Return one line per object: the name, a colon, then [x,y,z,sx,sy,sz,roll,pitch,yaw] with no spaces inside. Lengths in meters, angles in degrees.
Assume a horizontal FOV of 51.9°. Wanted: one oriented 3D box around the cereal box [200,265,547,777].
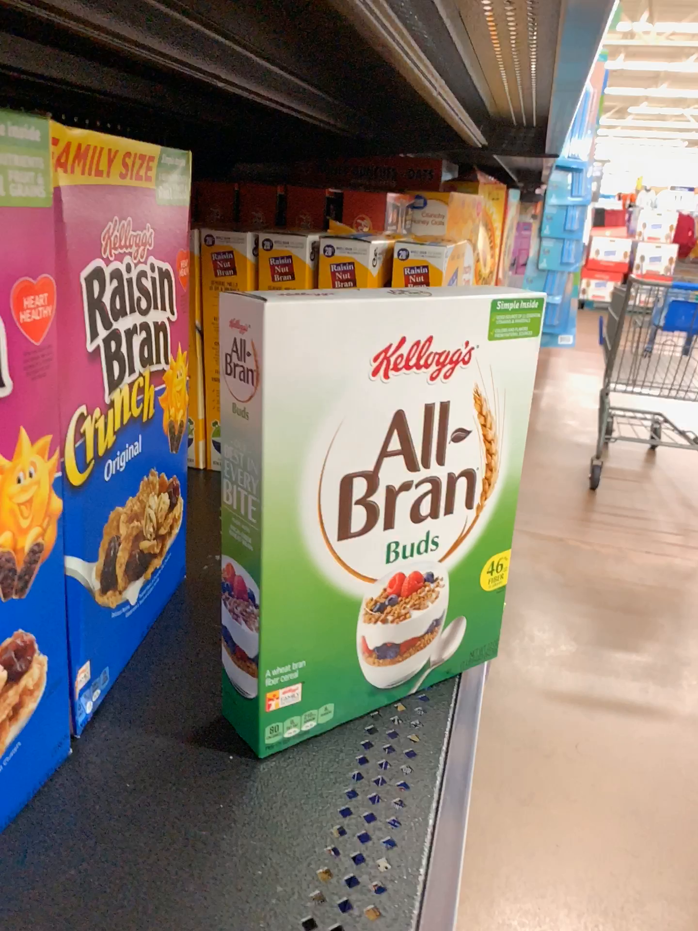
cereal box: [0.015,0.021,0.414,0.190,0.259,0.050,-10,22,-35]
